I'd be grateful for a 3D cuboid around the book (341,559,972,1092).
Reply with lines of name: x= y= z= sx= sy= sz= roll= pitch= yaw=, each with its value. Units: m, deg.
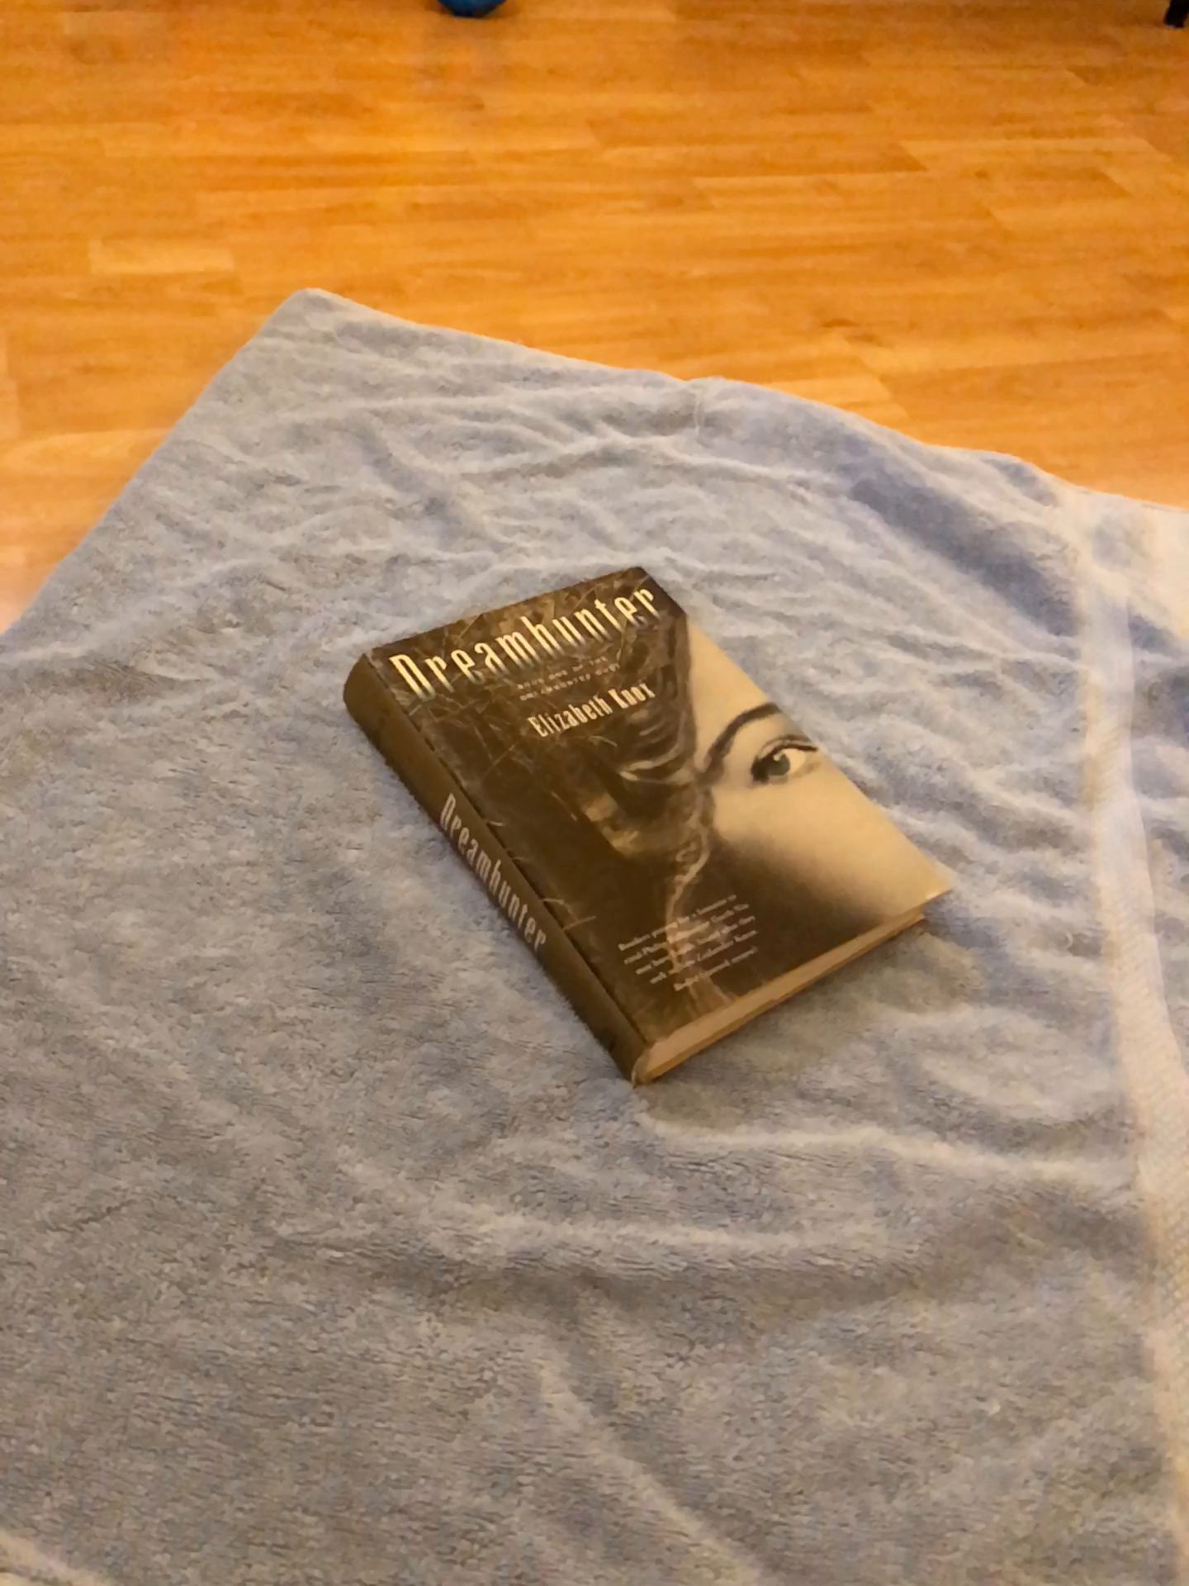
book: x=0.019 y=-0.004 z=0.553 sx=0.164 sy=0.030 sz=0.225 roll=-22 pitch=54 yaw=-27
